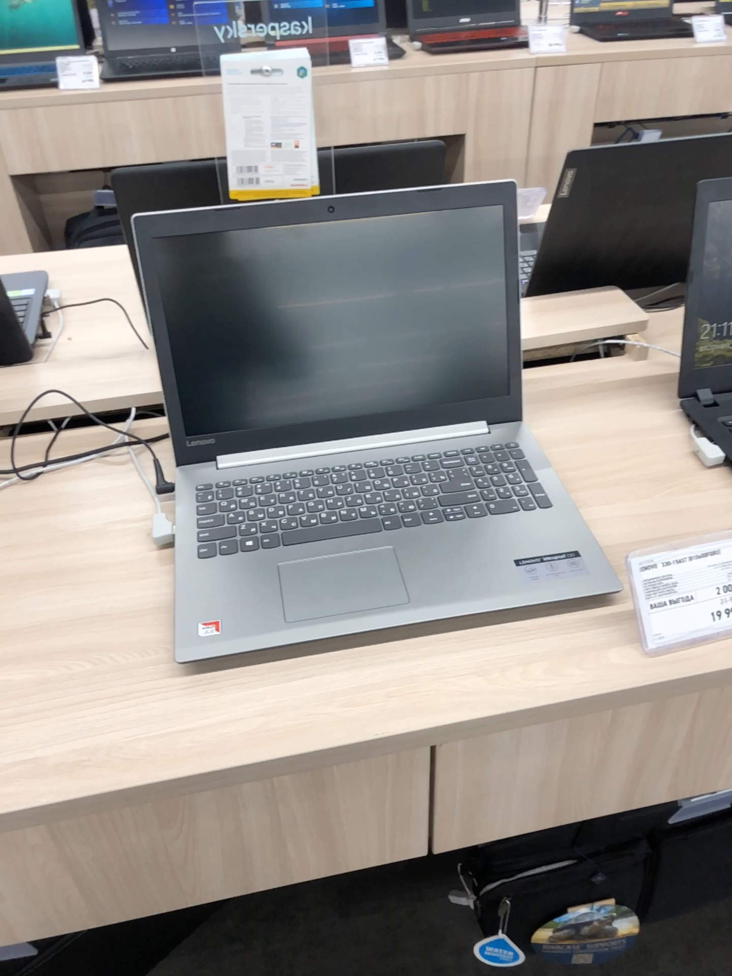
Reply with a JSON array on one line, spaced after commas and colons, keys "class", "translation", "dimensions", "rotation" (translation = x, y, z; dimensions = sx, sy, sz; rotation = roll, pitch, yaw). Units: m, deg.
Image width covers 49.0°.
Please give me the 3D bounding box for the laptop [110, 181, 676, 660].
[{"class": "laptop", "translation": [-0.001, -0.087, 0.730], "dimensions": [0.380, 0.235, 0.345], "rotation": [-8, 39, -7]}]
